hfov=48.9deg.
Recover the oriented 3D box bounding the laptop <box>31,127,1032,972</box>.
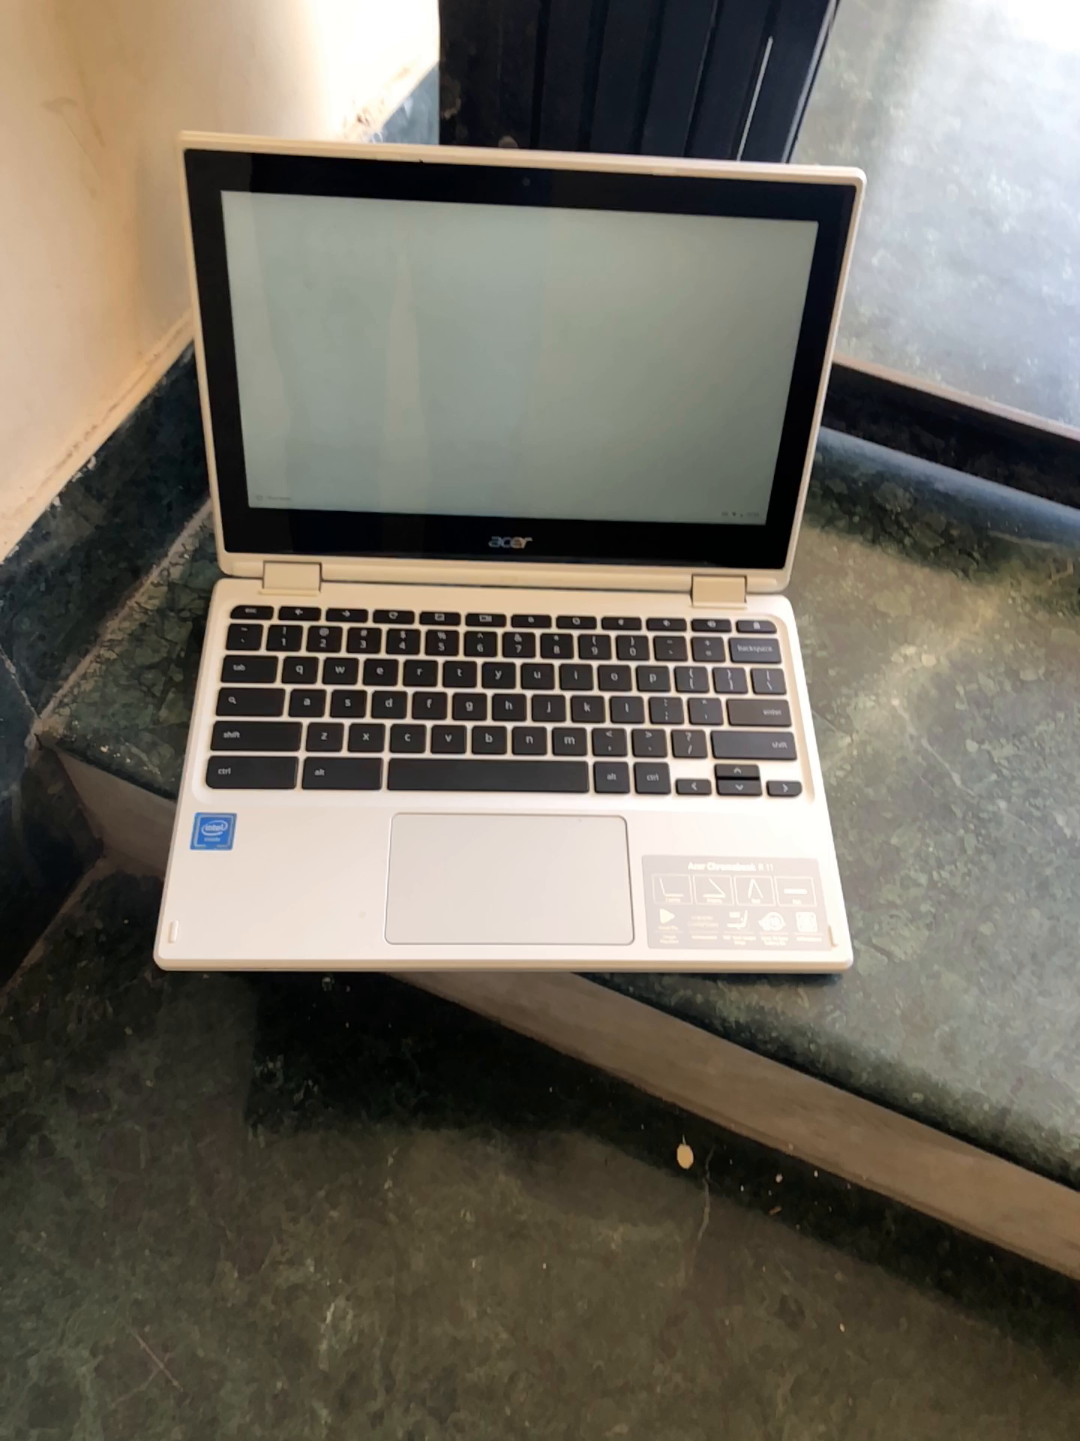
[{"bbox_3d":[-0.006,-0.066,0.477,0.278,0.178,0.272,2,56,-4],"label":"laptop"}]
